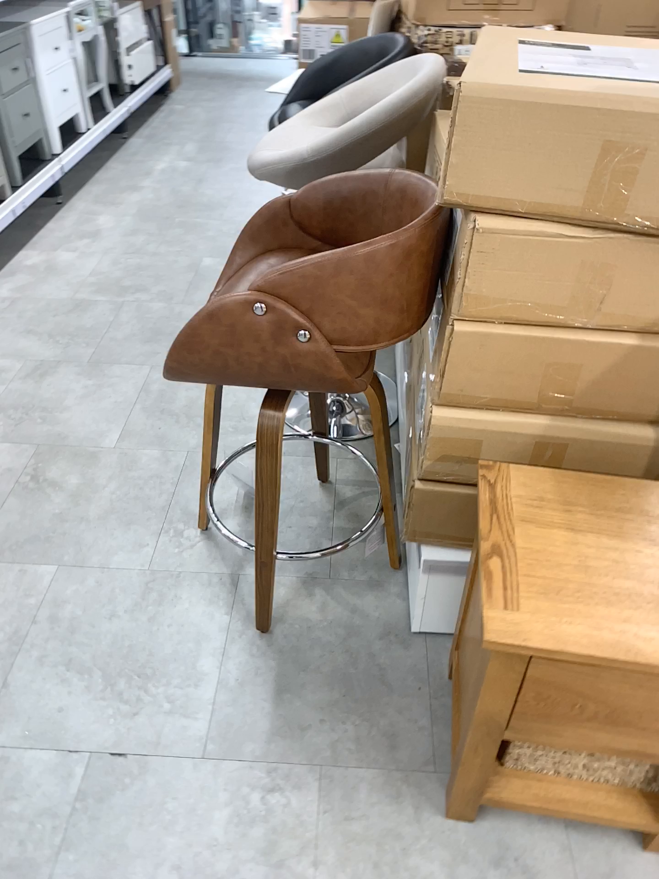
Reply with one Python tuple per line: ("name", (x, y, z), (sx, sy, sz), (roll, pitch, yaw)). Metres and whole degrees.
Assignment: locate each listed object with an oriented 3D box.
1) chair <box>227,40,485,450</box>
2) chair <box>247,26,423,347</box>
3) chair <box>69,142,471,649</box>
("chair", (0.054, -0.503, 1.844), (0.520, 0.945, 0.498), (2, 39, 1))
("chair", (0.016, -0.832, 2.263), (0.470, 0.886, 0.498), (2, 39, 1))
("chair", (-0.068, -0.078, 1.389), (0.550, 0.846, 0.549), (4, 39, 3))
